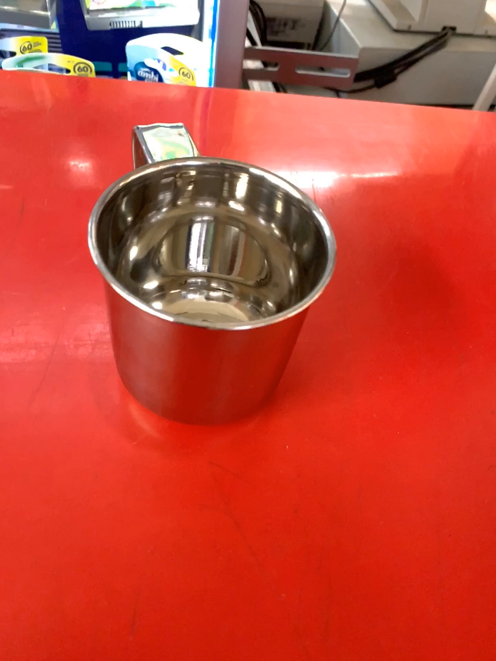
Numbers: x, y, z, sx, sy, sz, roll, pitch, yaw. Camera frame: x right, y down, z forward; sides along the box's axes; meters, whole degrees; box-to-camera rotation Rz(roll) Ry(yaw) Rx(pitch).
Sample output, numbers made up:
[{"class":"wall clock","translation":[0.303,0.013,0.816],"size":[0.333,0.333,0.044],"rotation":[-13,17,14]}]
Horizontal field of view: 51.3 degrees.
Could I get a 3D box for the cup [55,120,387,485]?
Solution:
[{"class":"cup","translation":[-0.019,-0.017,0.200],"size":[0.080,0.069,0.111],"rotation":[-12,54,-18]}]
